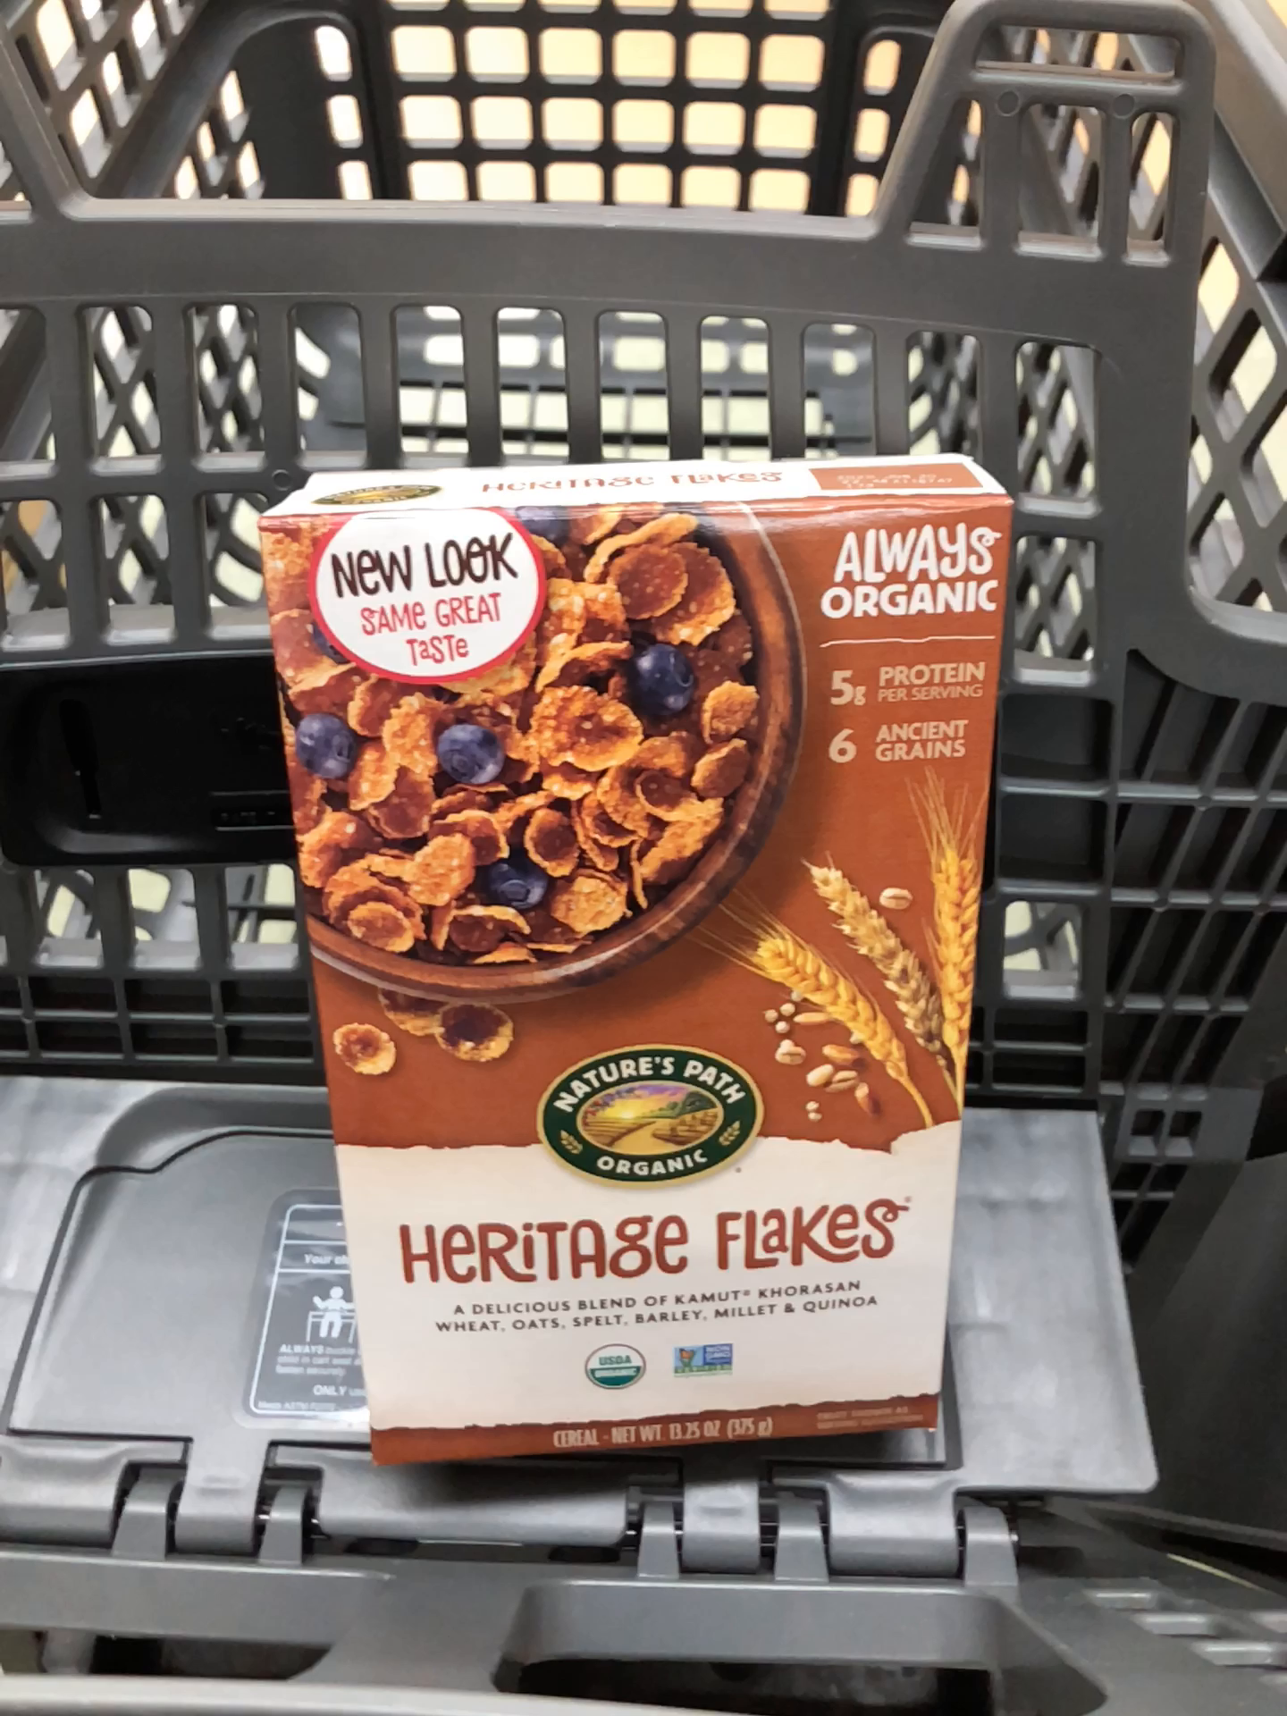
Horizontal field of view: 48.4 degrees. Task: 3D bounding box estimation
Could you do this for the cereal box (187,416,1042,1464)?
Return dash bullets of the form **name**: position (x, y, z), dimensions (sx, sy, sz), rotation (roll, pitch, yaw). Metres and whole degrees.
- **cereal box**: position (-0.002, 0.026, 0.357), dimensions (0.170, 0.250, 0.060), rotation (-3, 21, -2)
